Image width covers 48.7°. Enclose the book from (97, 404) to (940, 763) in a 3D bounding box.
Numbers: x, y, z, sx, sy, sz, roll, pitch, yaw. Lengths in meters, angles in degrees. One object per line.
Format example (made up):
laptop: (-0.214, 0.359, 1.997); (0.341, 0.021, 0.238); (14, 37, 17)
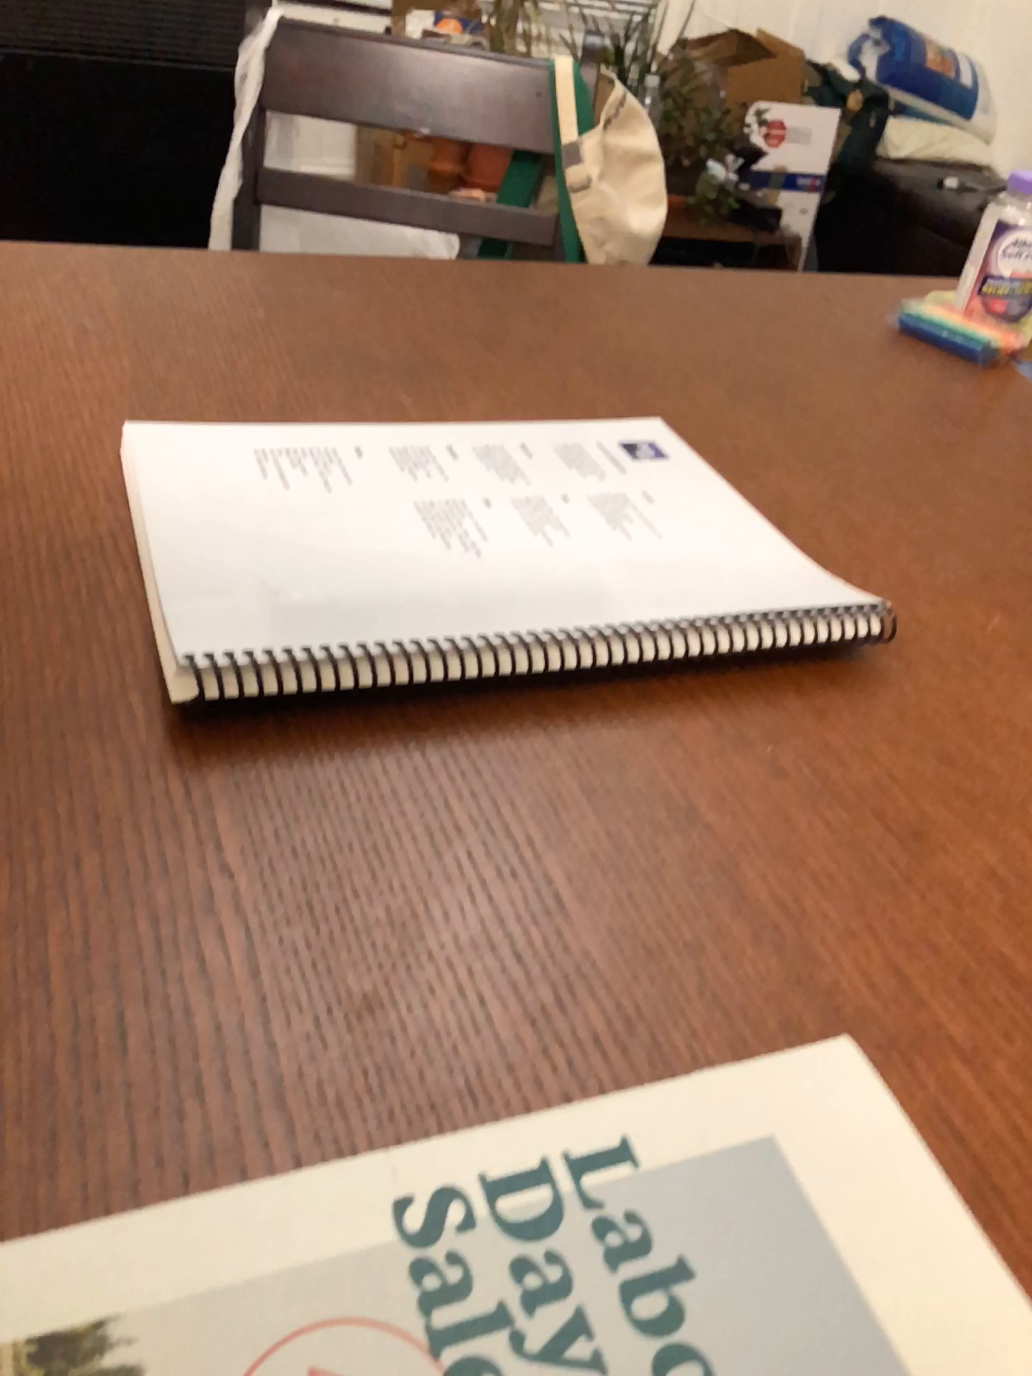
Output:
book: (-0.012, -0.066, 0.490); (0.300, 0.020, 0.231); (-6, 37, -21)
